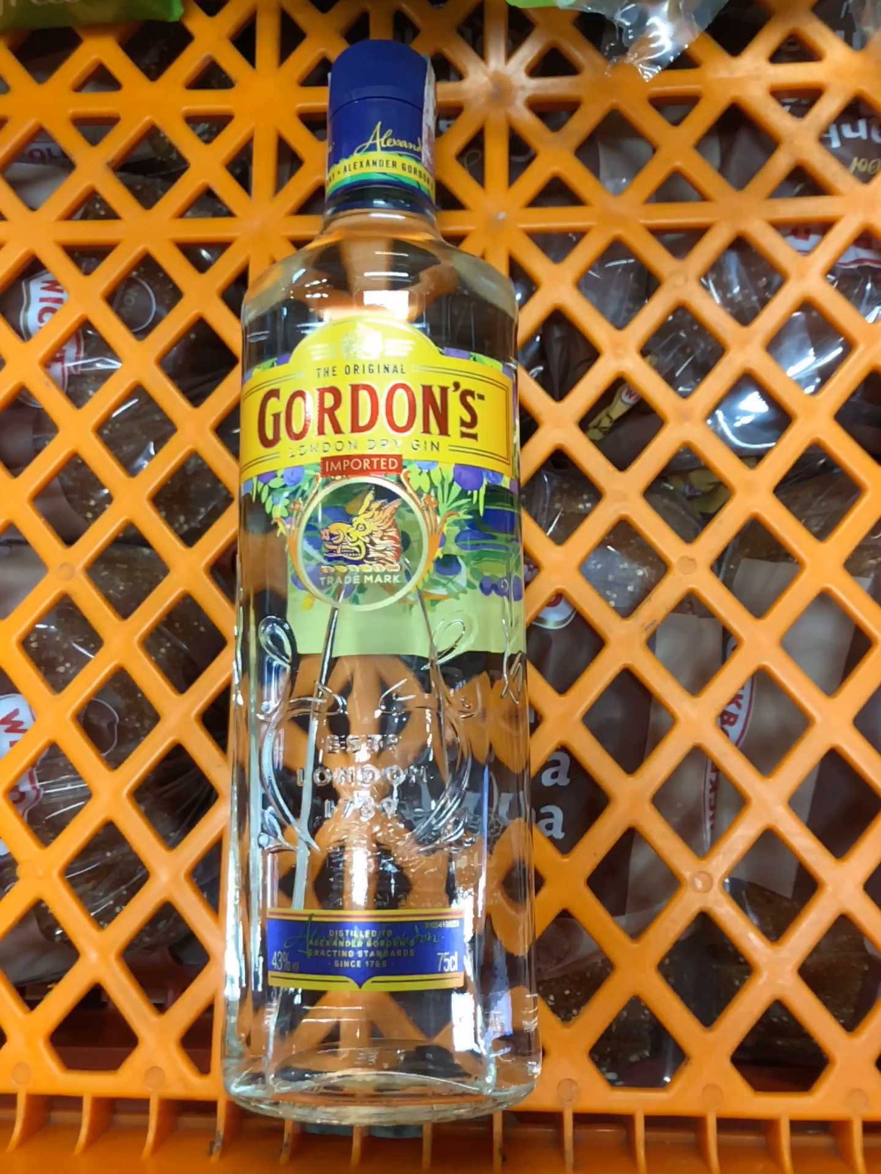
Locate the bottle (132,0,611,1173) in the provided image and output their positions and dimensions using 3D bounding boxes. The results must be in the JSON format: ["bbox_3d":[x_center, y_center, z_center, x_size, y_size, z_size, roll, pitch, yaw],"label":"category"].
[{"bbox_3d":[-0.016,-0.025,0.275,0.100,0.100,0.310,-1,82,1],"label":"bottle"}]
